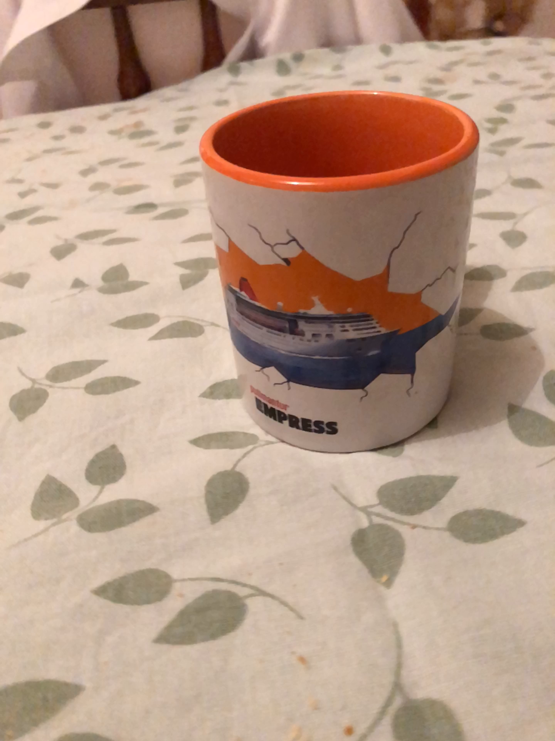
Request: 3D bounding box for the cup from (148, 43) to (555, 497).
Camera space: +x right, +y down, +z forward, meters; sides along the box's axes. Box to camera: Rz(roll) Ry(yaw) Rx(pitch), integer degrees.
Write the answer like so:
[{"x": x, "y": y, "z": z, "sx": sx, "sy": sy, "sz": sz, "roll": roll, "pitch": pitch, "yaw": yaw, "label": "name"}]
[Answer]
[{"x": 0.036, "y": -0.045, "z": 0.217, "sx": 0.080, "sy": 0.099, "sz": 0.121, "roll": 22, "pitch": 45, "yaw": 32, "label": "cup"}]
